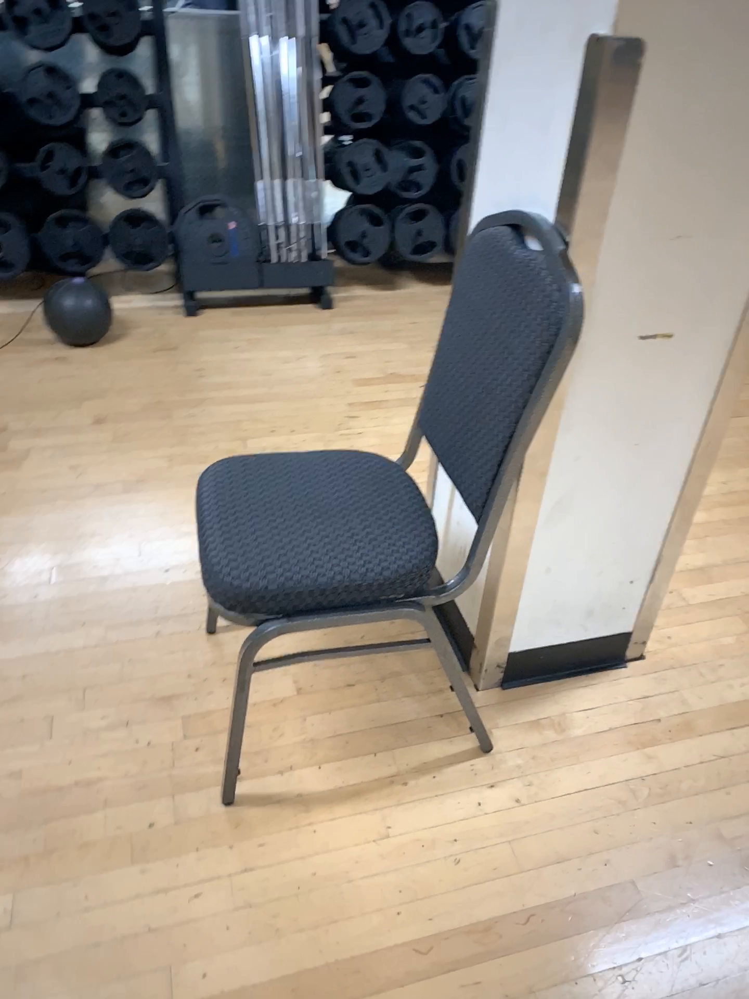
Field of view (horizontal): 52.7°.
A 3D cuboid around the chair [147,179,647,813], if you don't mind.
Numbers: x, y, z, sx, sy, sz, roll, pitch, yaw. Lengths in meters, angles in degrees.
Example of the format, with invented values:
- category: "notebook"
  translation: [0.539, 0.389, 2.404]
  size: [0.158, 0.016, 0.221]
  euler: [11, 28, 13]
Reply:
- category: "chair"
  translation: [-0.035, 0.000, 1.271]
  size: [0.564, 0.908, 0.467]
  euler: [-6, 36, -14]
